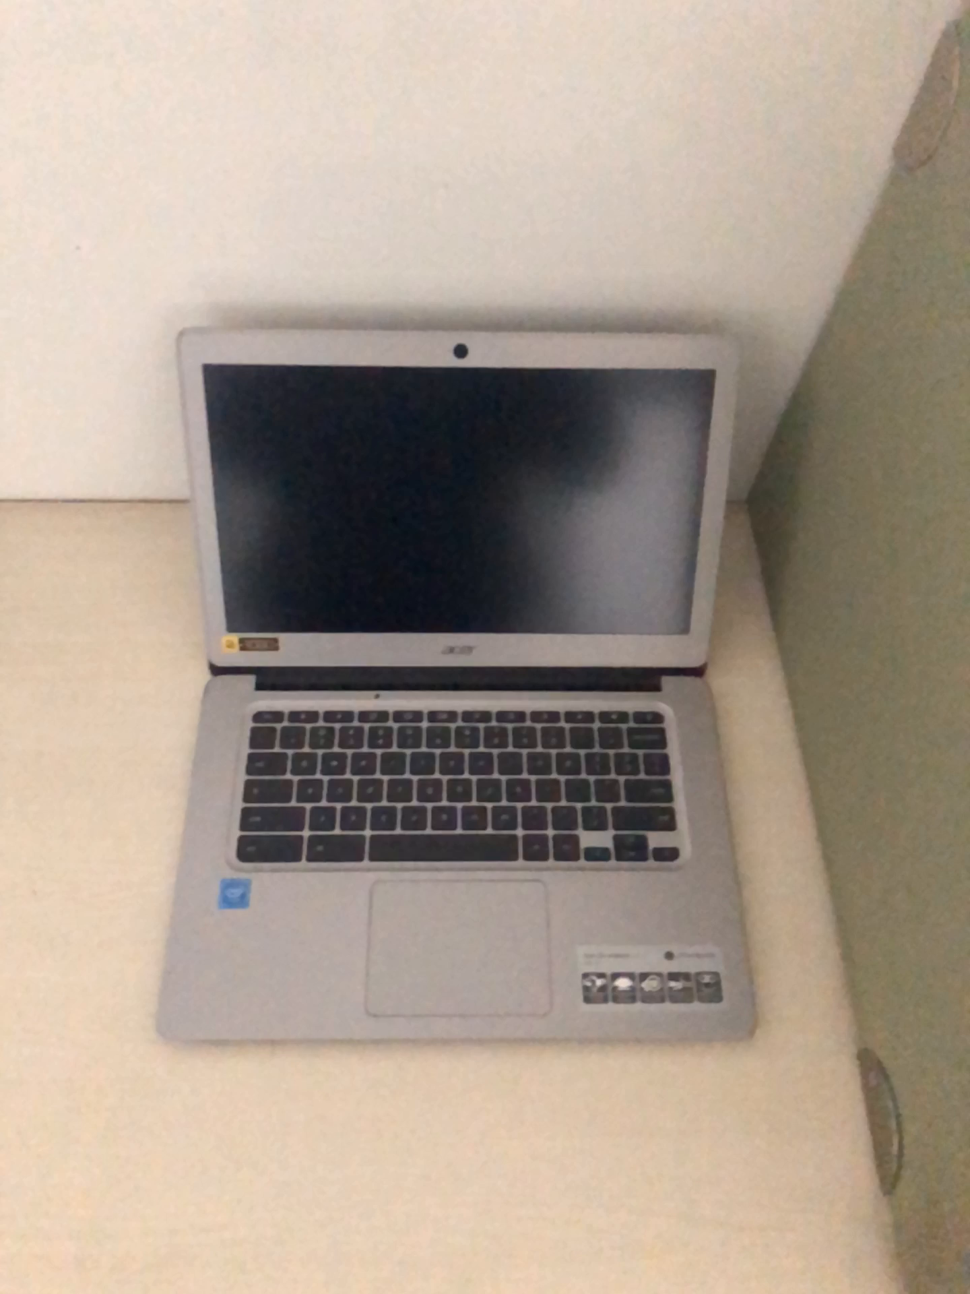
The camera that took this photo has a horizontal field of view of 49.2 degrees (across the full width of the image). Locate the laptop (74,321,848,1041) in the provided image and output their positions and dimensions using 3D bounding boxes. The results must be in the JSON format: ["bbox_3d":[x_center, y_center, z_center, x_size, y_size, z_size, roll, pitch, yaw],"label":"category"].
[{"bbox_3d":[-0.014,0.015,0.605,0.322,0.168,0.367,0,60,-3],"label":"laptop"}]
